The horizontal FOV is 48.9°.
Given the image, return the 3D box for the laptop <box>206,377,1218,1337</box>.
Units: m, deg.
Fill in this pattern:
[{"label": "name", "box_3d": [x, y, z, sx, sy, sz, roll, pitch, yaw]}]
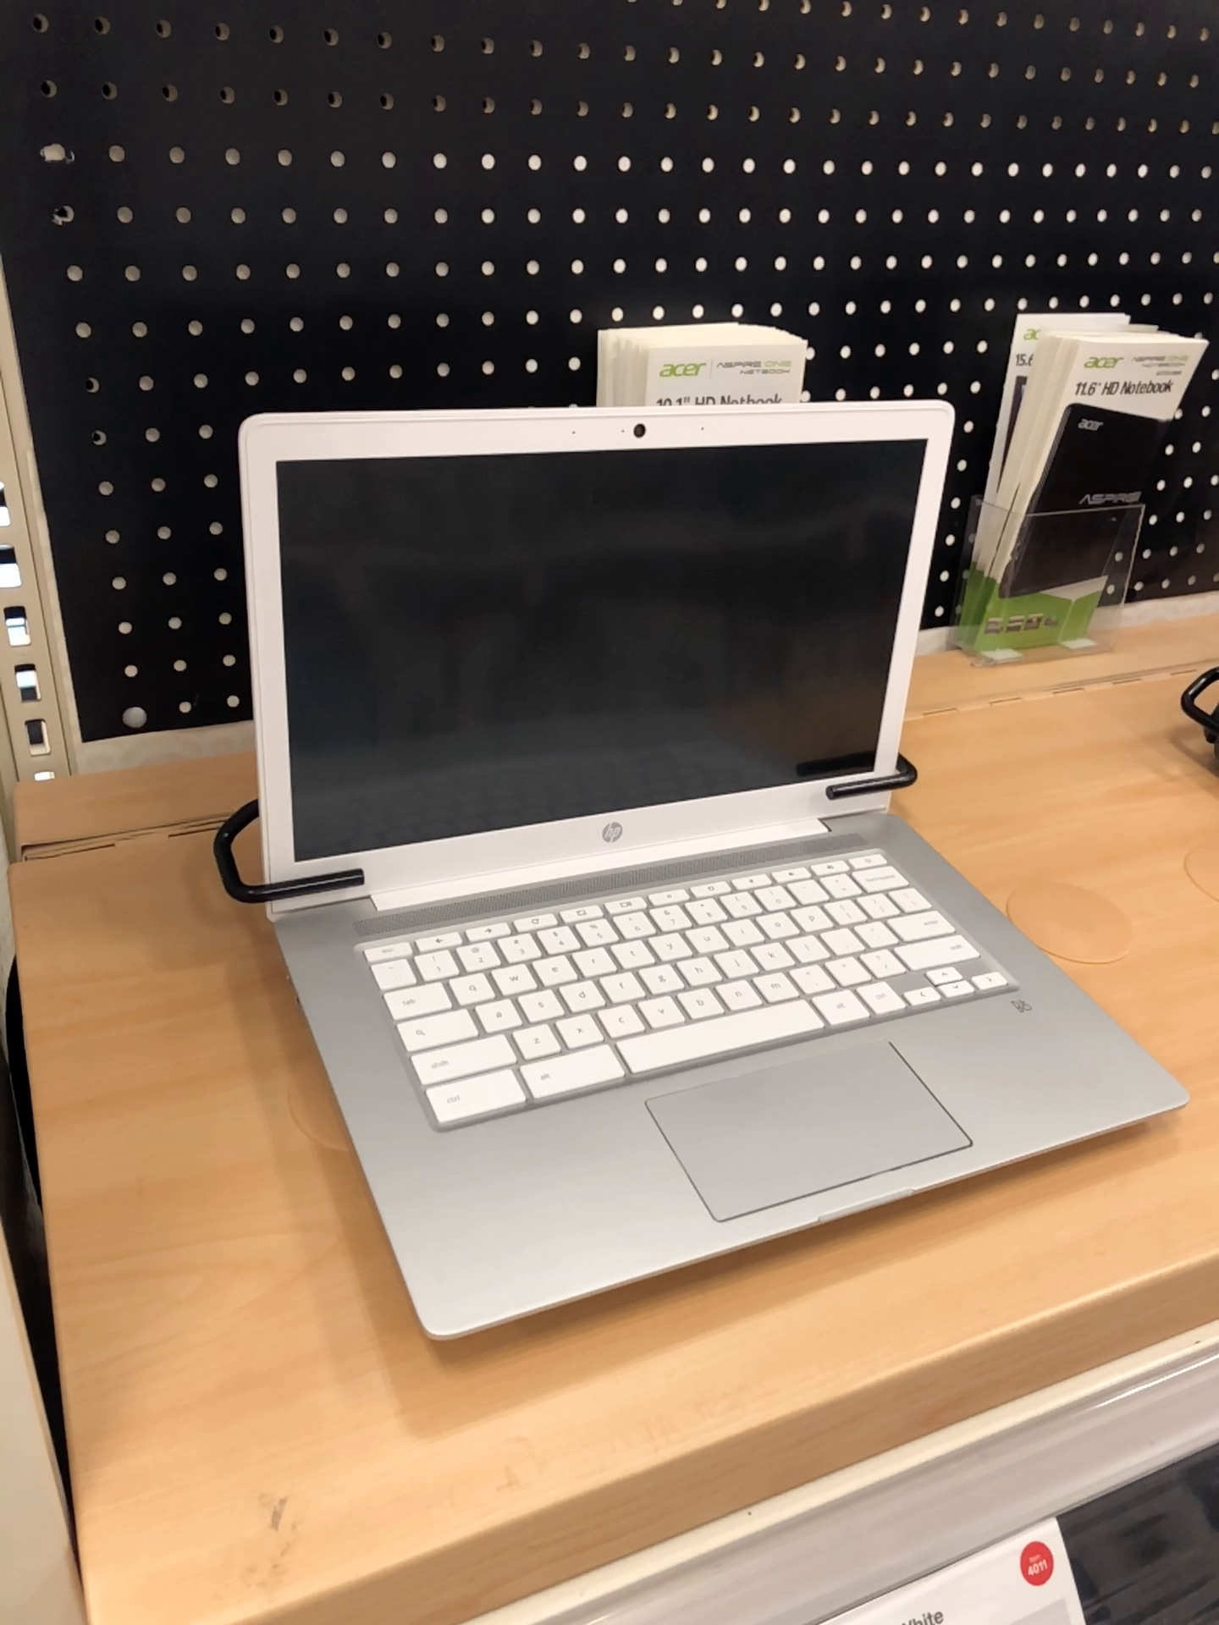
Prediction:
[{"label": "laptop", "box_3d": [0.042, -0.027, 0.549, 0.333, 0.198, 0.281, -10, 36, -24]}]
